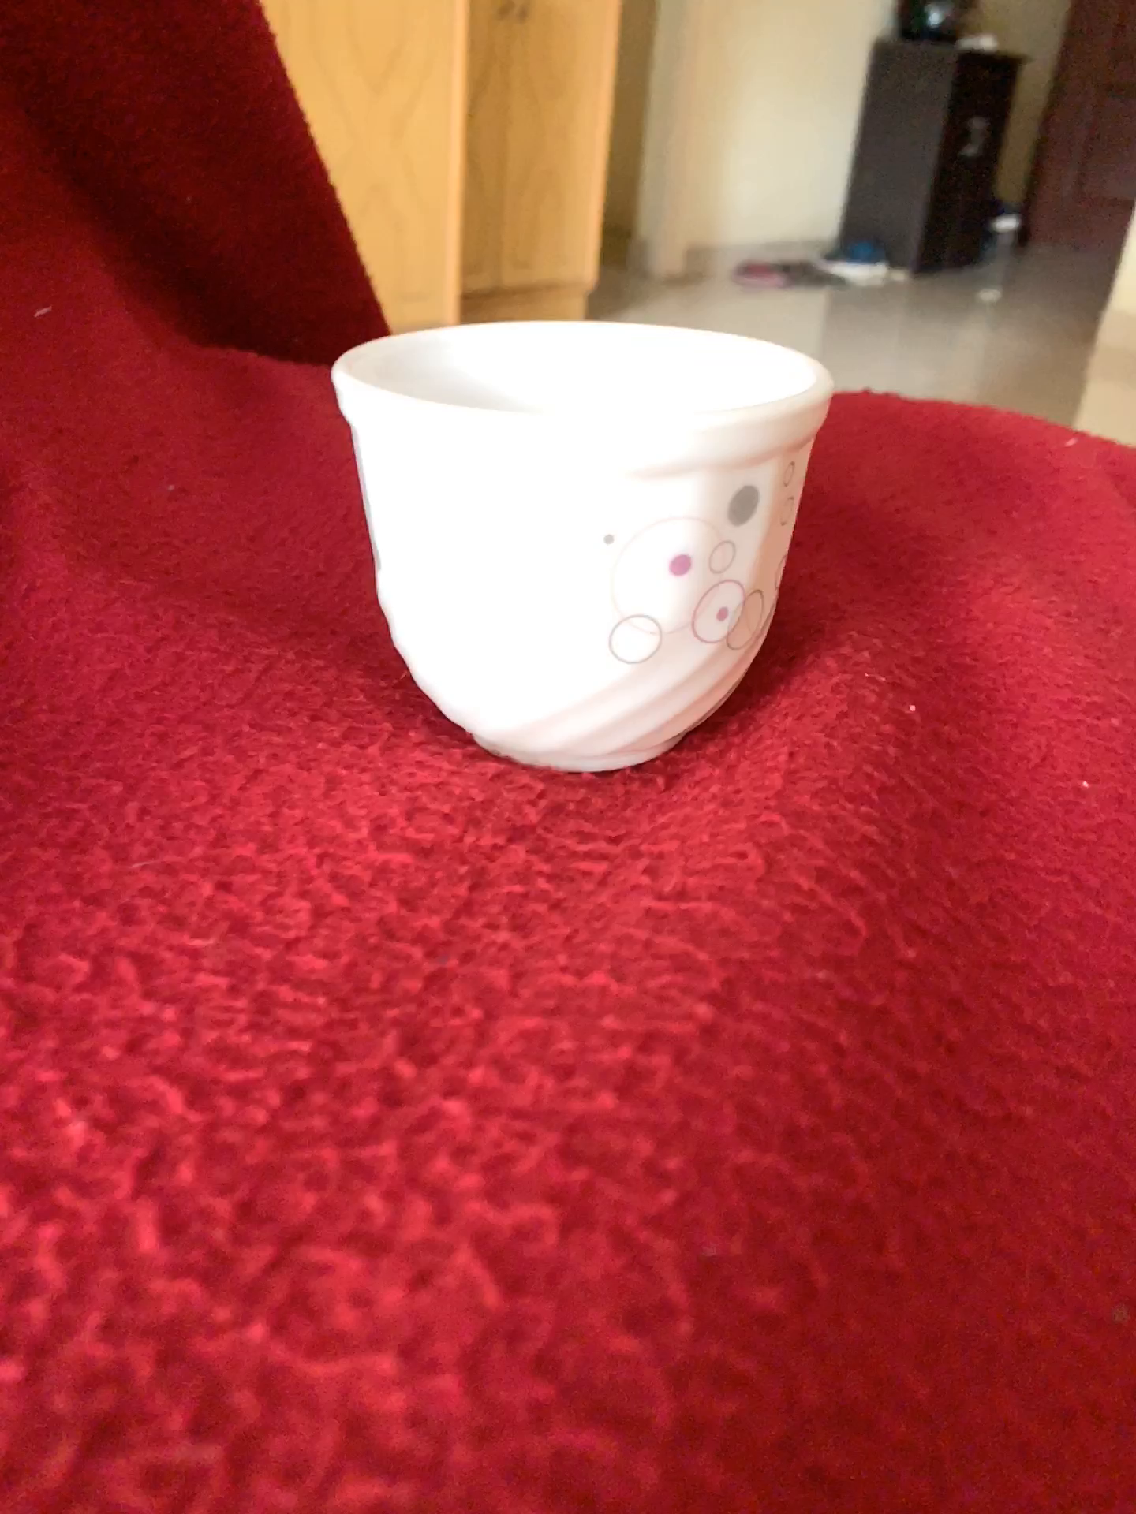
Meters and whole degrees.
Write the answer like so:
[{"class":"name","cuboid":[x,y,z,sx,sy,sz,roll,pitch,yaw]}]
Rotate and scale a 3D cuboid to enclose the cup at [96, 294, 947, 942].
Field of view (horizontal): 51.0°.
[{"class":"cup","cuboid":[-0.001,-0.033,0.182,0.080,0.050,0.101,20,33,24]}]
